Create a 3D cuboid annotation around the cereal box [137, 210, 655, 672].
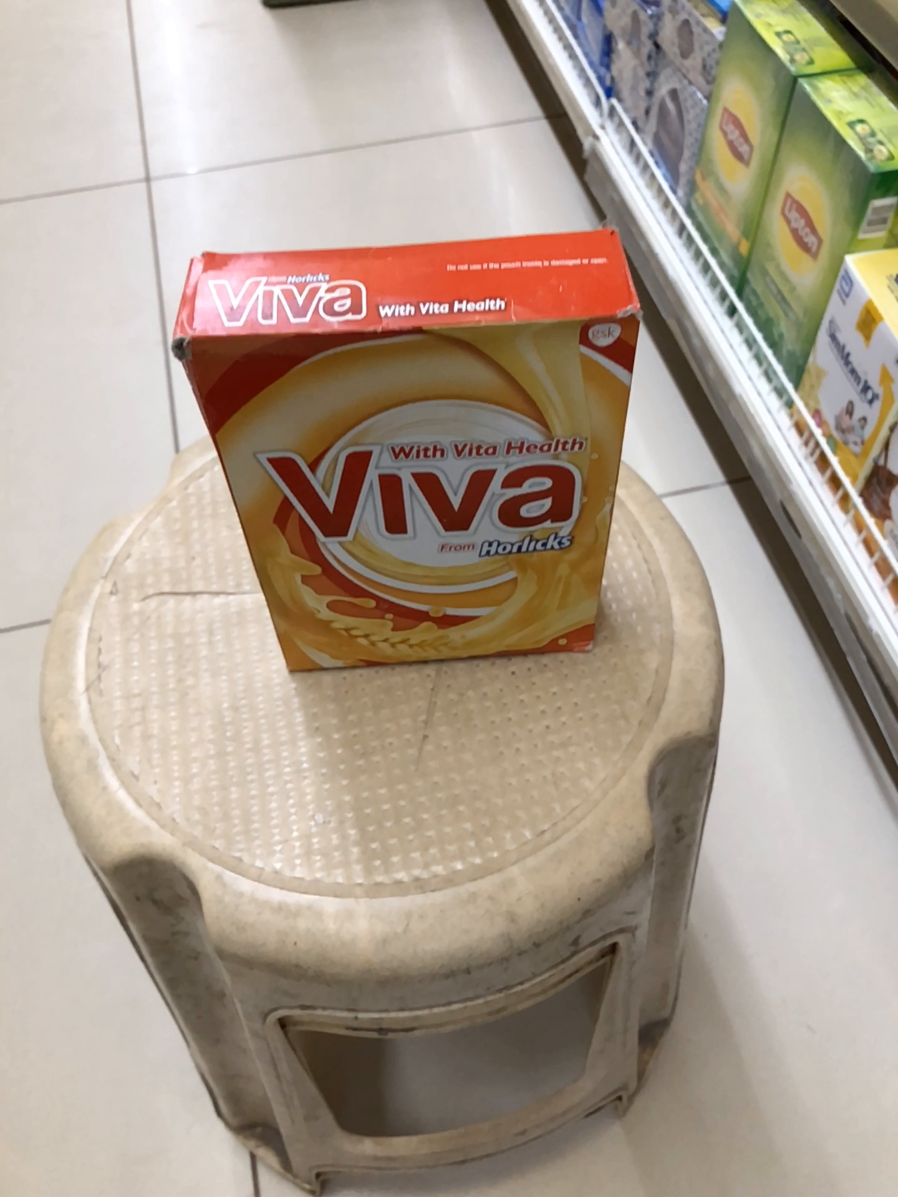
[{"bbox_3d":[-0.014,-0.049,0.403,0.160,0.199,0.050,-4,55,-1],"label":"cereal box"}]
